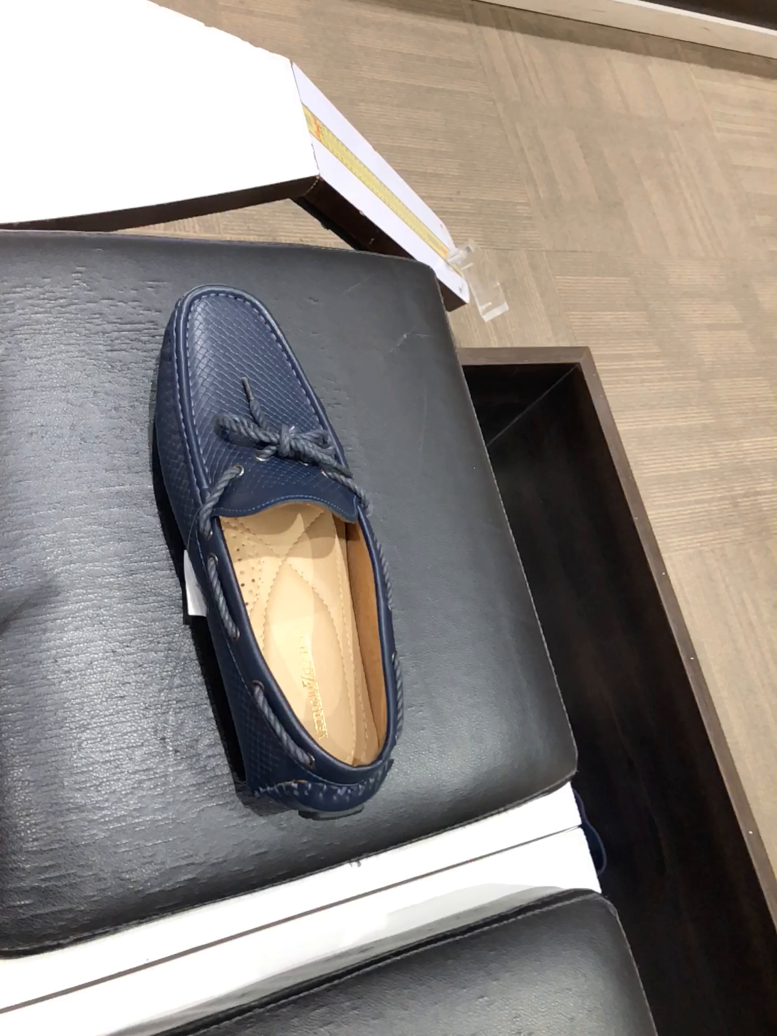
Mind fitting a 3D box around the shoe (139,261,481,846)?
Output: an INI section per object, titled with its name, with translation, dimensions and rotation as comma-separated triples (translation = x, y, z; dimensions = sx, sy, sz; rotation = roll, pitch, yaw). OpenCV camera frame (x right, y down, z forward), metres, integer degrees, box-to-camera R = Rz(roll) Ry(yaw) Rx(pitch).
[shoe]
translation = -0.050, 0.011, 0.432
dimensions = 0.100, 0.080, 0.270
rotation = -6, 72, -26
